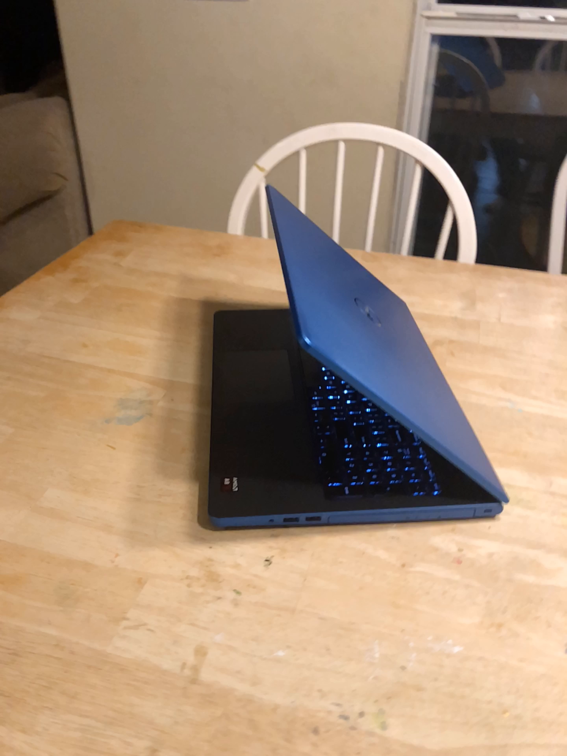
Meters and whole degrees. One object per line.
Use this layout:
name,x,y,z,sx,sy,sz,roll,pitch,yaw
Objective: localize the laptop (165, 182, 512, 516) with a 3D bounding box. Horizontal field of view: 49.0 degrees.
laptop,0.024,-0.061,0.633,0.248,0.159,0.363,-3,34,-5
